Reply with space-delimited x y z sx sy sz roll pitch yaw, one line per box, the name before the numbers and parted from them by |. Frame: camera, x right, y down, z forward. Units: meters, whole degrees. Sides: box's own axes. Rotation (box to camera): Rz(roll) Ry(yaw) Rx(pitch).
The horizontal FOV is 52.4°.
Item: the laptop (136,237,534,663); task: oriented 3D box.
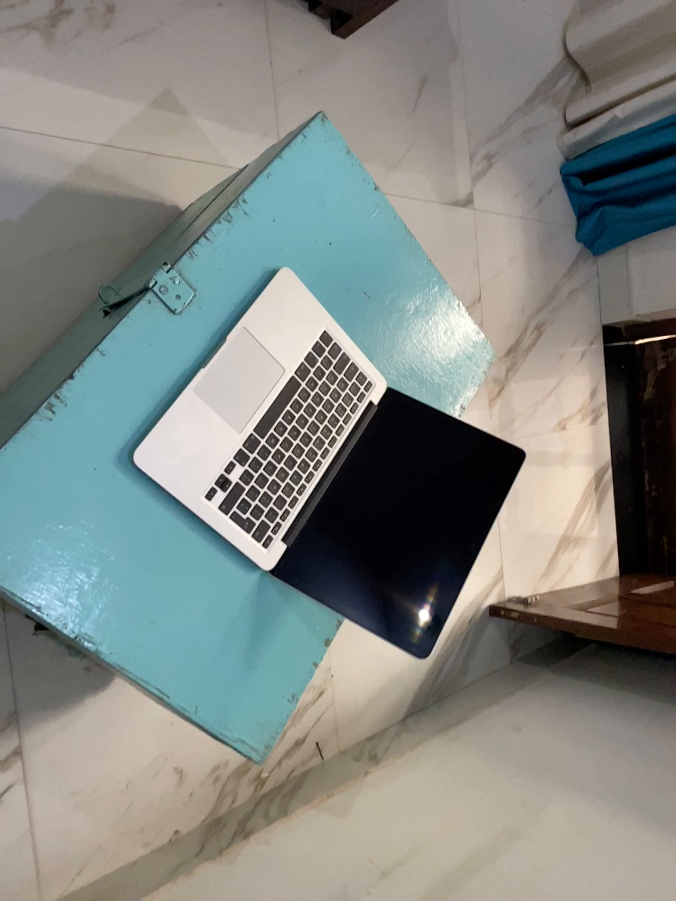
laptop | 0.024 0.007 0.830 0.378 0.148 0.313 45 62 -28
